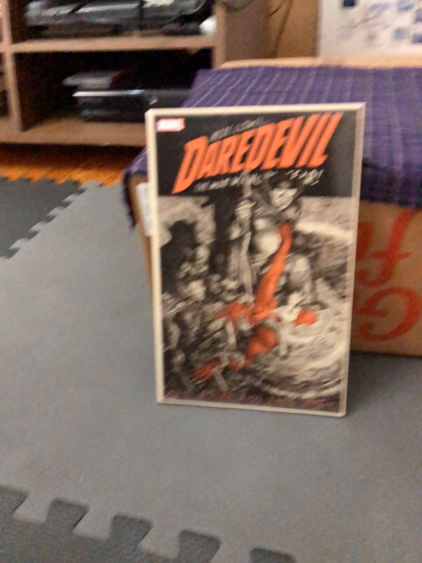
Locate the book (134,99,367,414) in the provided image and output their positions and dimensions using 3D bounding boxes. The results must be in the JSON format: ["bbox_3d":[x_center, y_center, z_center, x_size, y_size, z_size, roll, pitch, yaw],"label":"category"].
[{"bbox_3d":[0.027,-0.014,0.357,0.160,0.229,0.020,2,14,10],"label":"book"}]
